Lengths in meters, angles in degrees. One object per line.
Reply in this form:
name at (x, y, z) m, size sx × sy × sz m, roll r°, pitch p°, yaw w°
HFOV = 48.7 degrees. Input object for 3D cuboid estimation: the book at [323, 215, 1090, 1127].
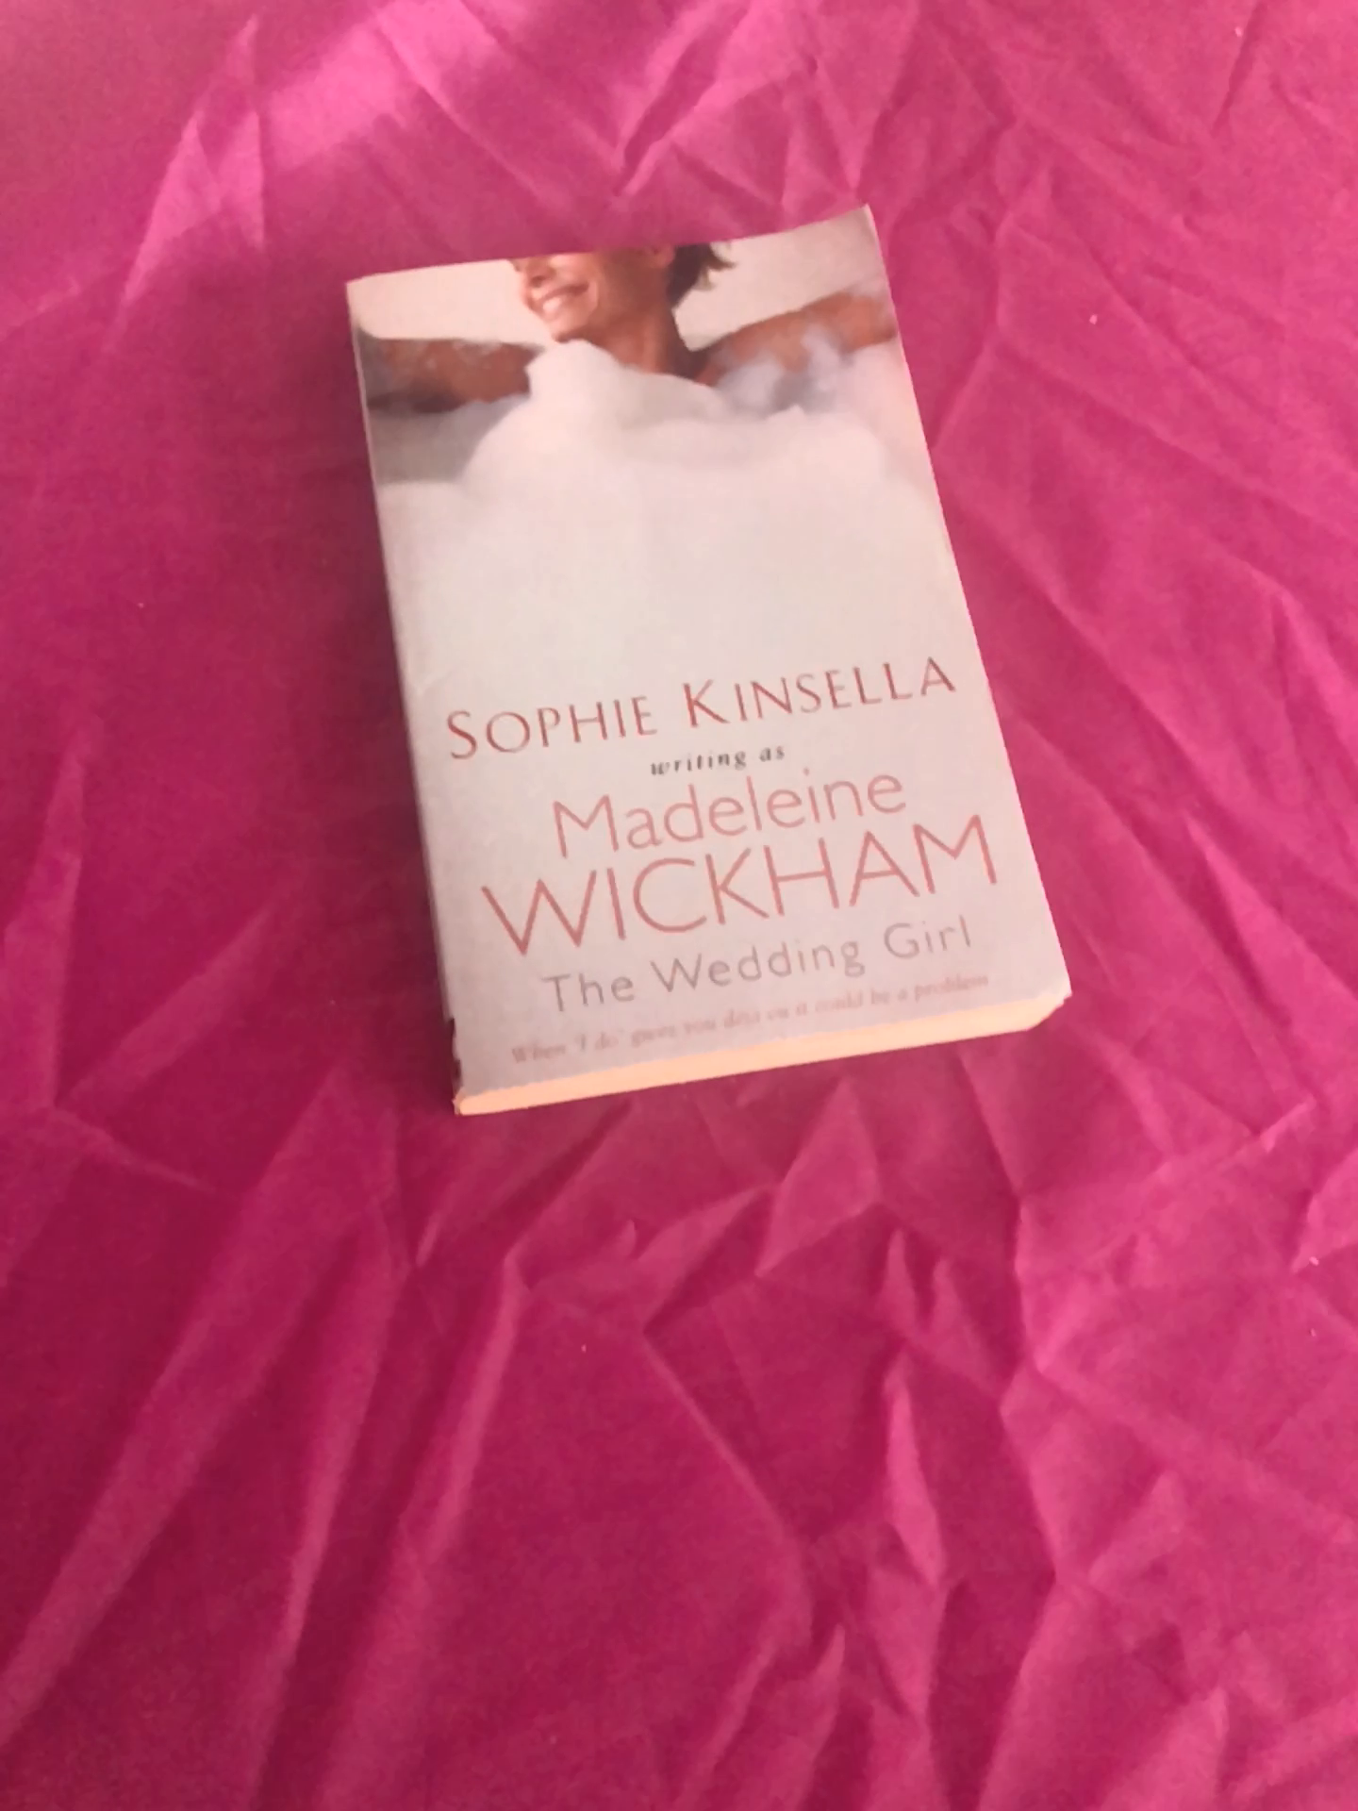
book at (-0.001, -0.062, 0.339) m, size 0.135 × 0.027 × 0.202 m, roll -7°, pitch 72°, yaw -8°
